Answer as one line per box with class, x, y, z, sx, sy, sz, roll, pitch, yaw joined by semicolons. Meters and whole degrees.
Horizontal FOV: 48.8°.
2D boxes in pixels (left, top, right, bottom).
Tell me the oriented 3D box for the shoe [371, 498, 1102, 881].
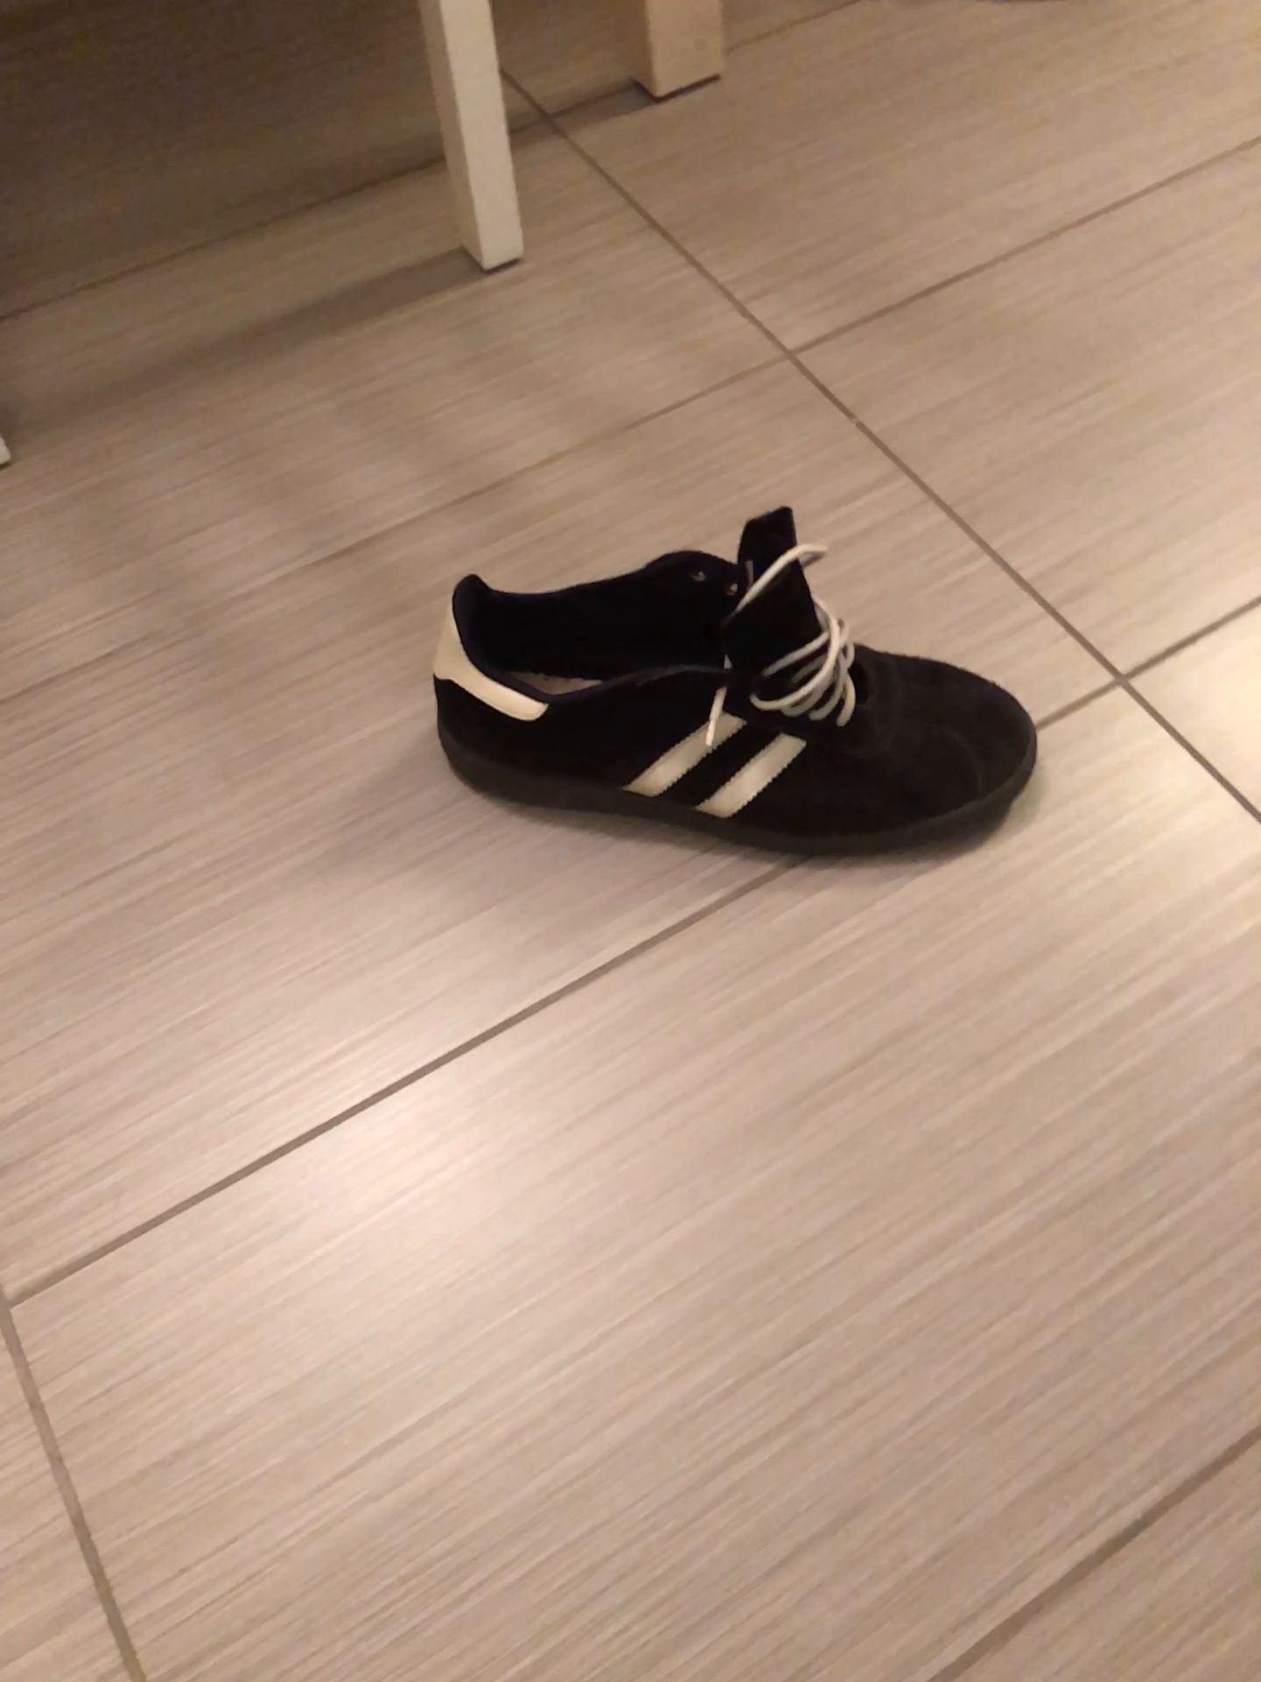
shoe;0.050;-0.072;0.668;0.310;0.120;0.110;5;58;5
